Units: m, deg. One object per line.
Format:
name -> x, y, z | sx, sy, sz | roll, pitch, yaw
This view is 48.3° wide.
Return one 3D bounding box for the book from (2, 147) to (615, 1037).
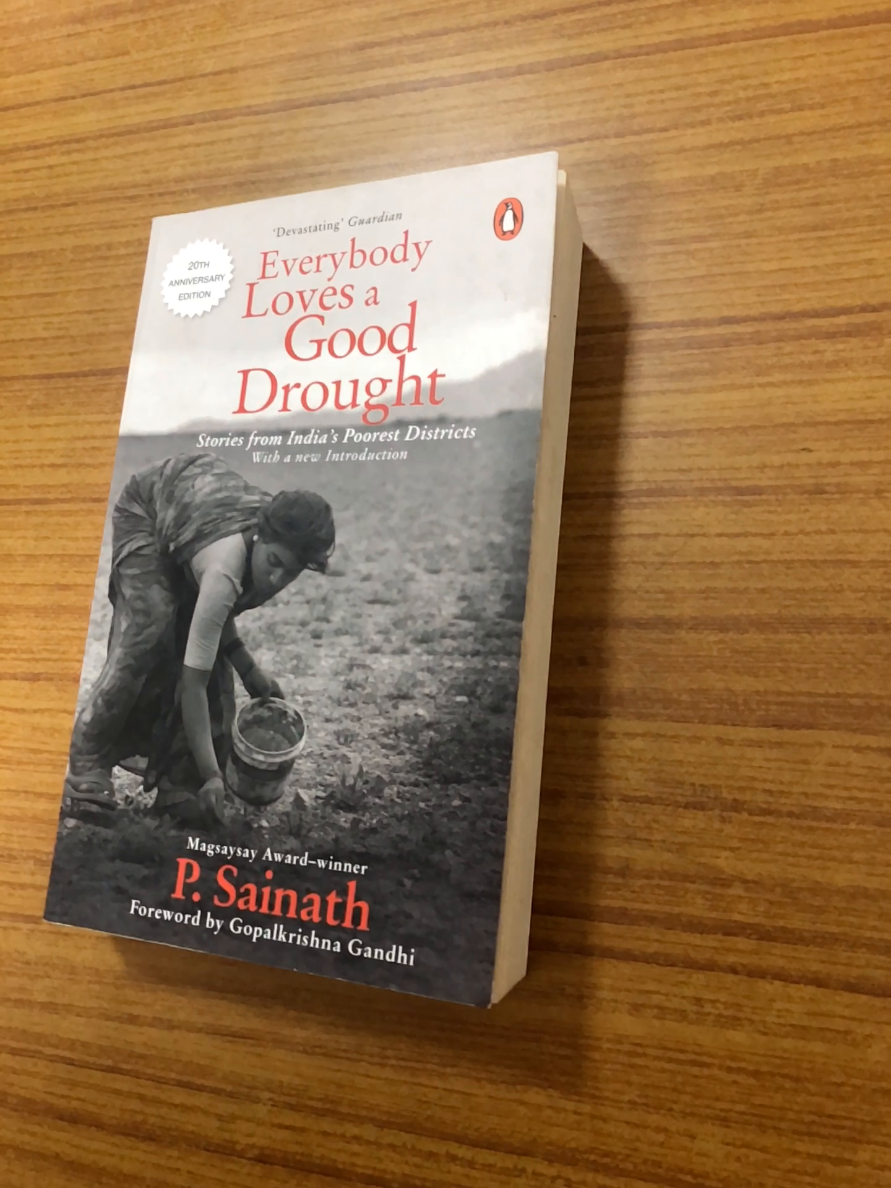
book -> -0.034, -0.007, 0.272 | 0.140, 0.040, 0.210 | 2, 81, 20
